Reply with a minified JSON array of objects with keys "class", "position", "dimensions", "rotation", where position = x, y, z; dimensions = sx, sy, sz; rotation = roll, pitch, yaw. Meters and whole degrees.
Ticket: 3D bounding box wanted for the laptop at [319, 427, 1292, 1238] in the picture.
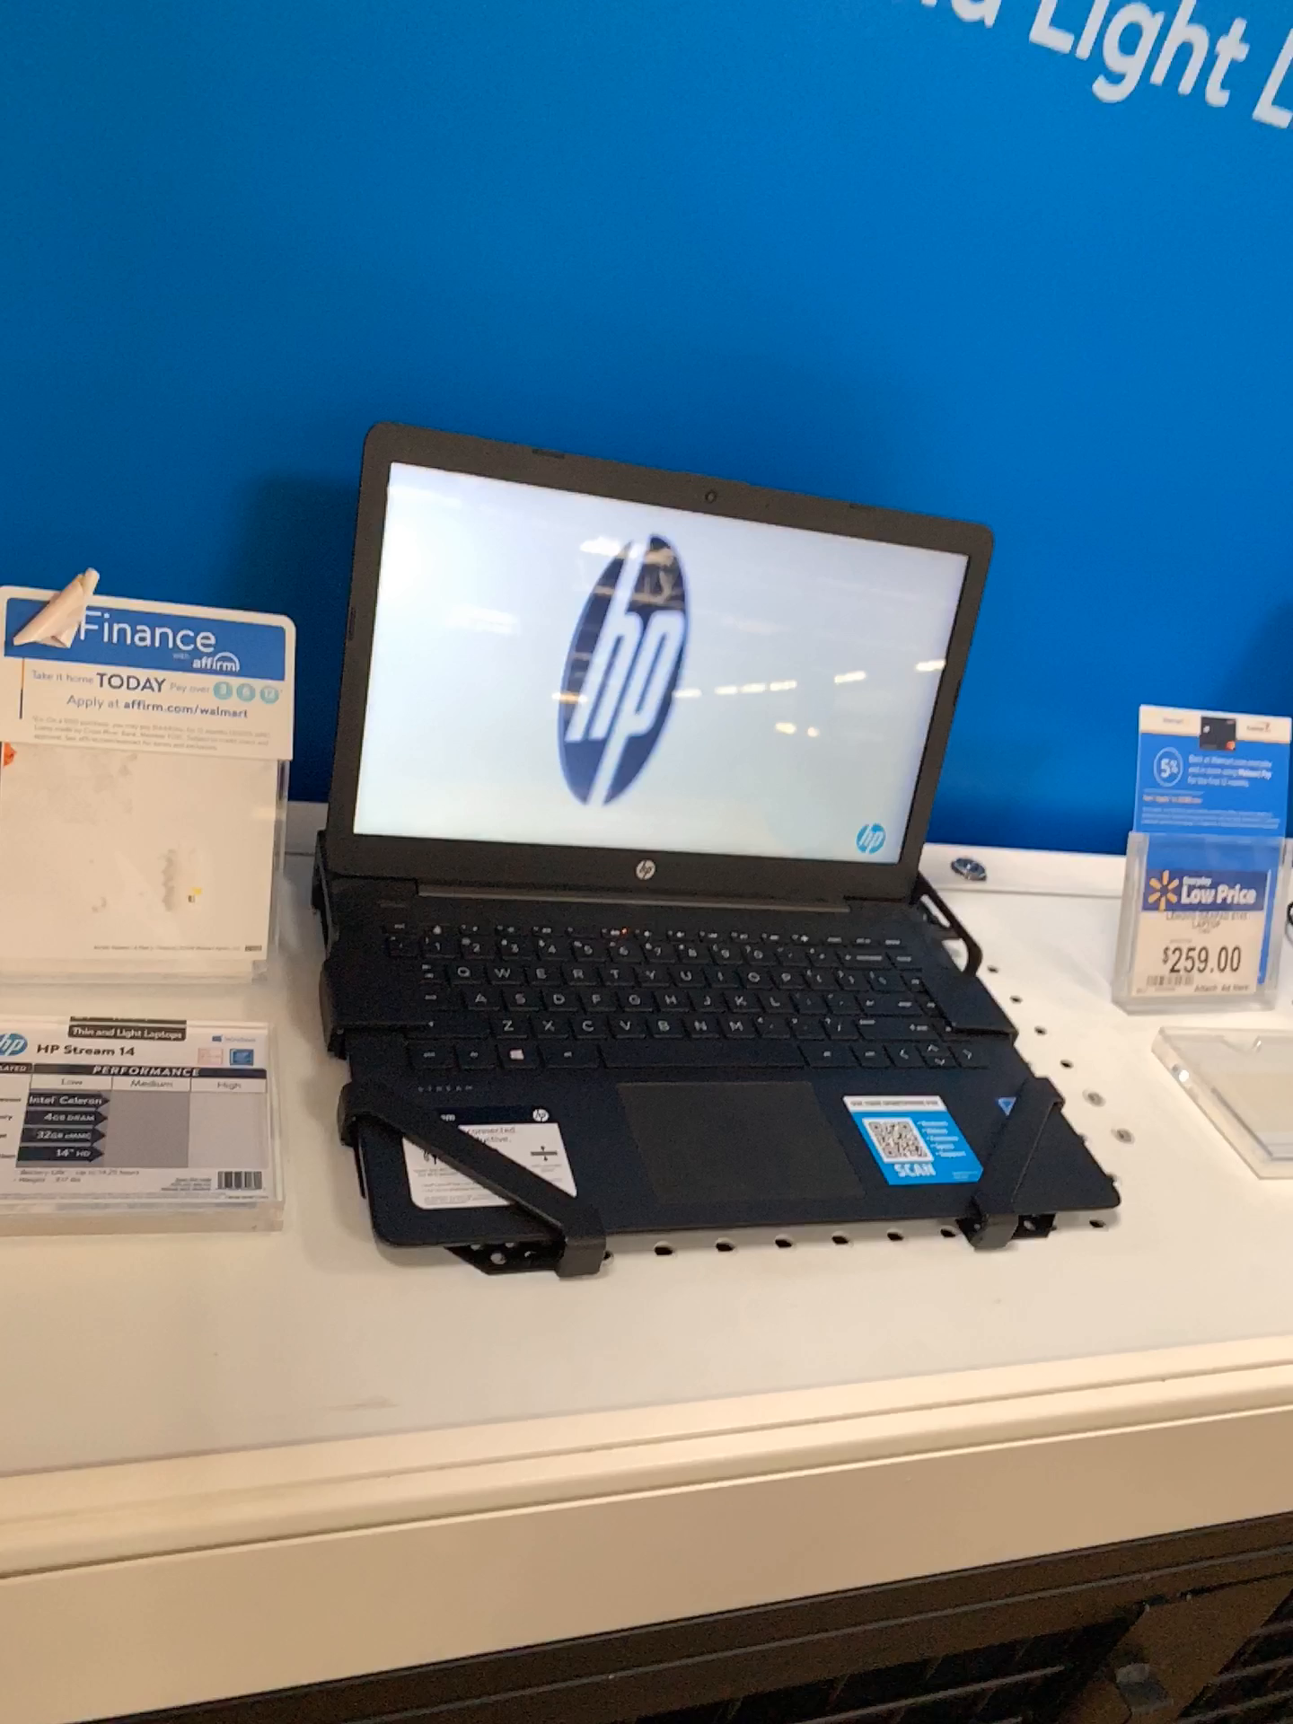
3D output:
[{"class":"laptop","position":[0.048,-0.021,0.582],"dimensions":[0.326,0.203,0.270],"rotation":[3,33,-22]}]
